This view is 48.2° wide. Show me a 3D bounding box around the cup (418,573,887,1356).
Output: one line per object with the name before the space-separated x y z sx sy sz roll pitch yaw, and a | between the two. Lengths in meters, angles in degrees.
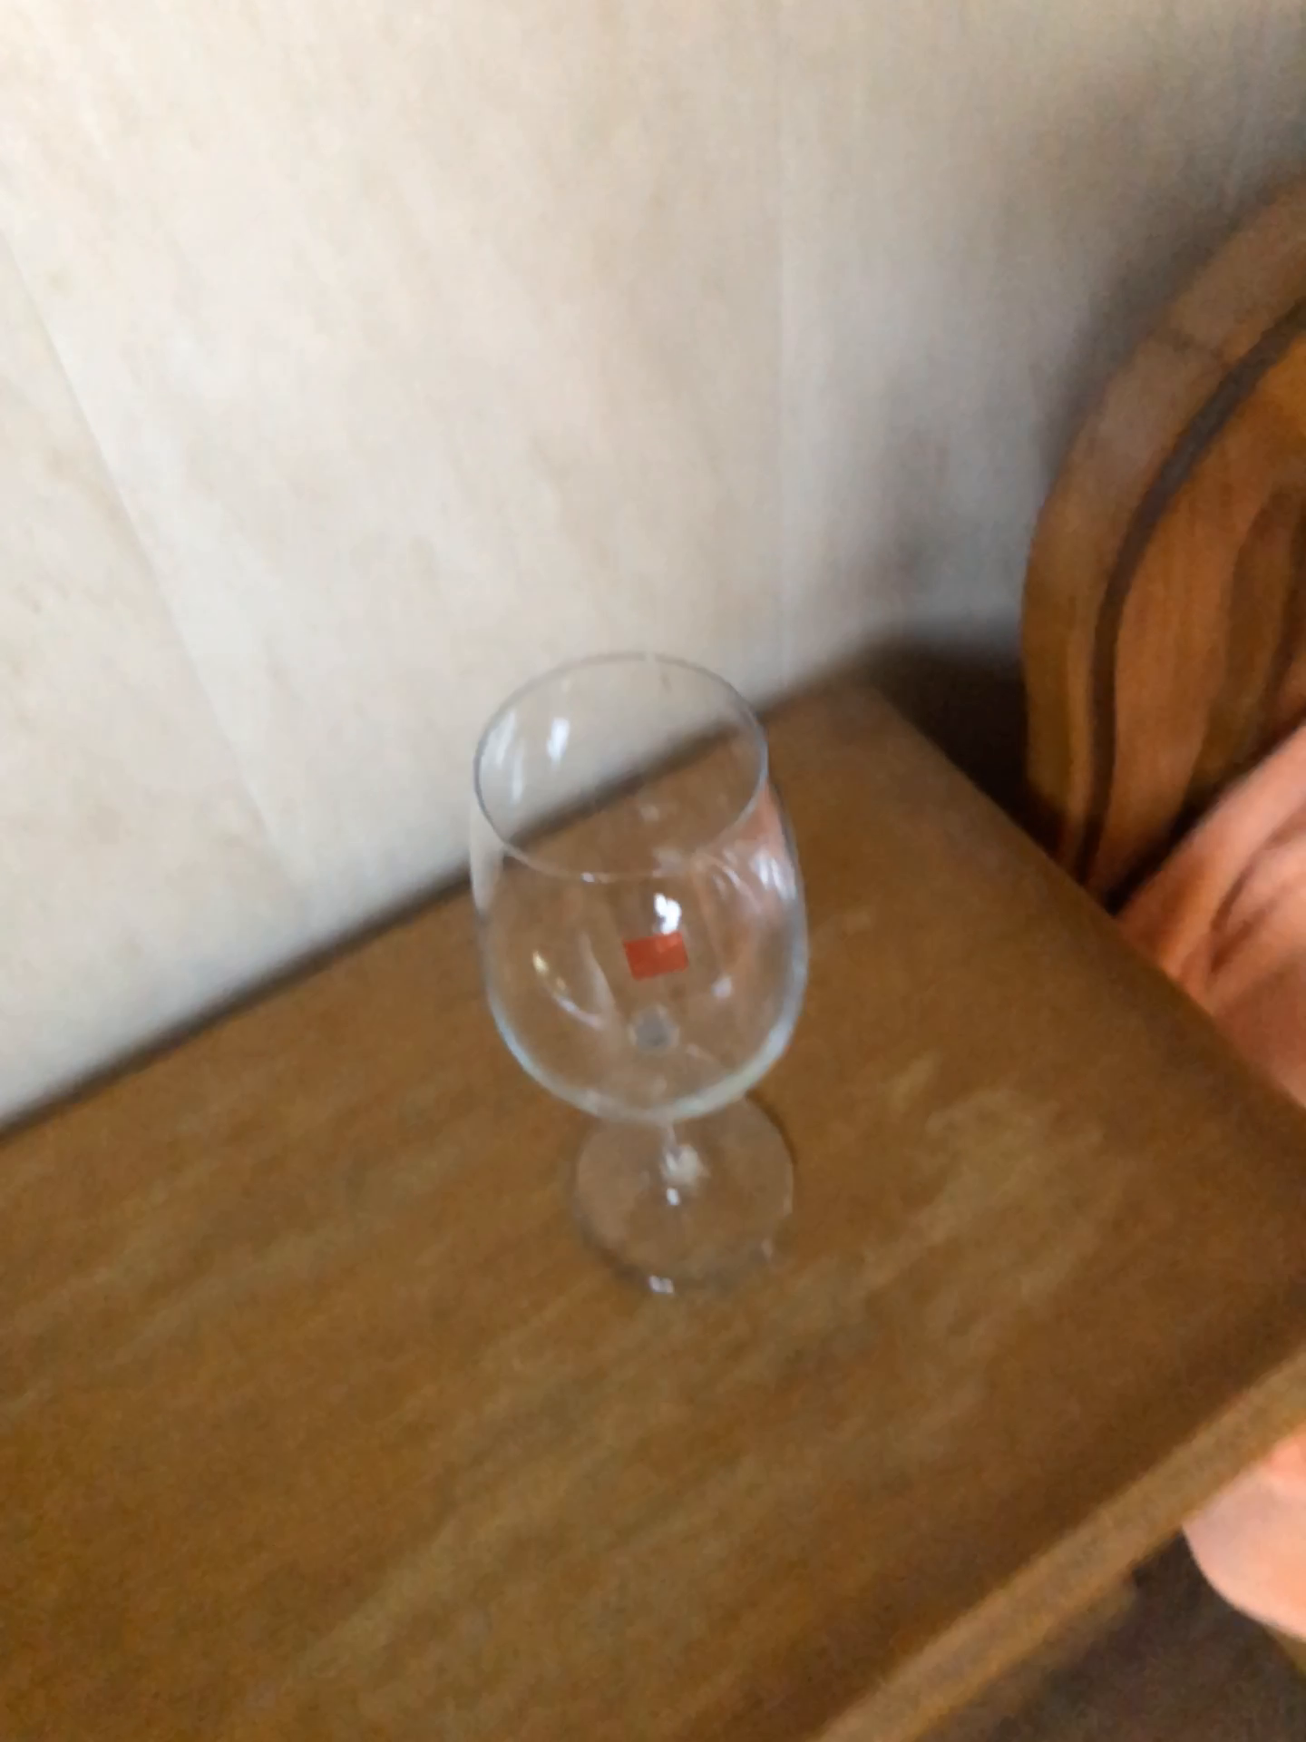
cup | 0.004 0.042 0.420 0.090 0.229 0.100 -11 52 -3
